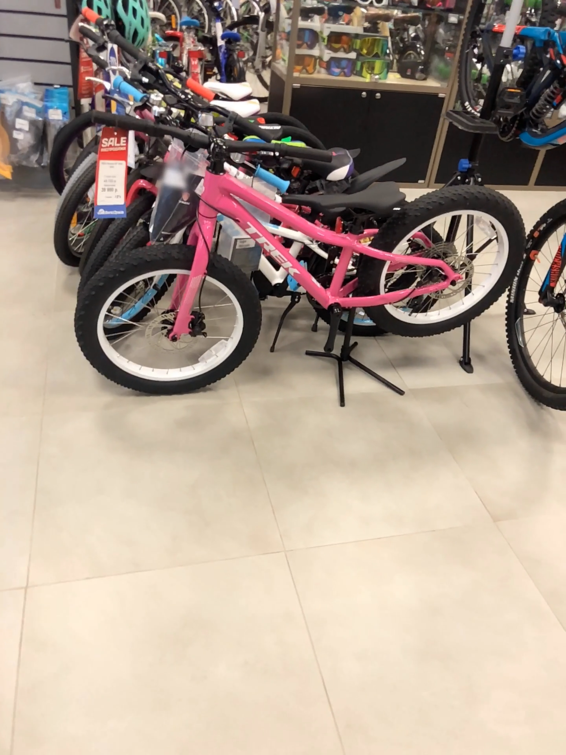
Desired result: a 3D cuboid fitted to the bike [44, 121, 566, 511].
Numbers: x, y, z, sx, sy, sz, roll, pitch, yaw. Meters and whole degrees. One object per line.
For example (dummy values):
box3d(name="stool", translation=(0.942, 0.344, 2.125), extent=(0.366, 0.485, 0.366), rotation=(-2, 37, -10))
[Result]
box3d(name="bike", translation=(0.096, -0.220, 1.747), extent=(1.335, 0.668, 0.573), rotation=(-9, 37, -10))
